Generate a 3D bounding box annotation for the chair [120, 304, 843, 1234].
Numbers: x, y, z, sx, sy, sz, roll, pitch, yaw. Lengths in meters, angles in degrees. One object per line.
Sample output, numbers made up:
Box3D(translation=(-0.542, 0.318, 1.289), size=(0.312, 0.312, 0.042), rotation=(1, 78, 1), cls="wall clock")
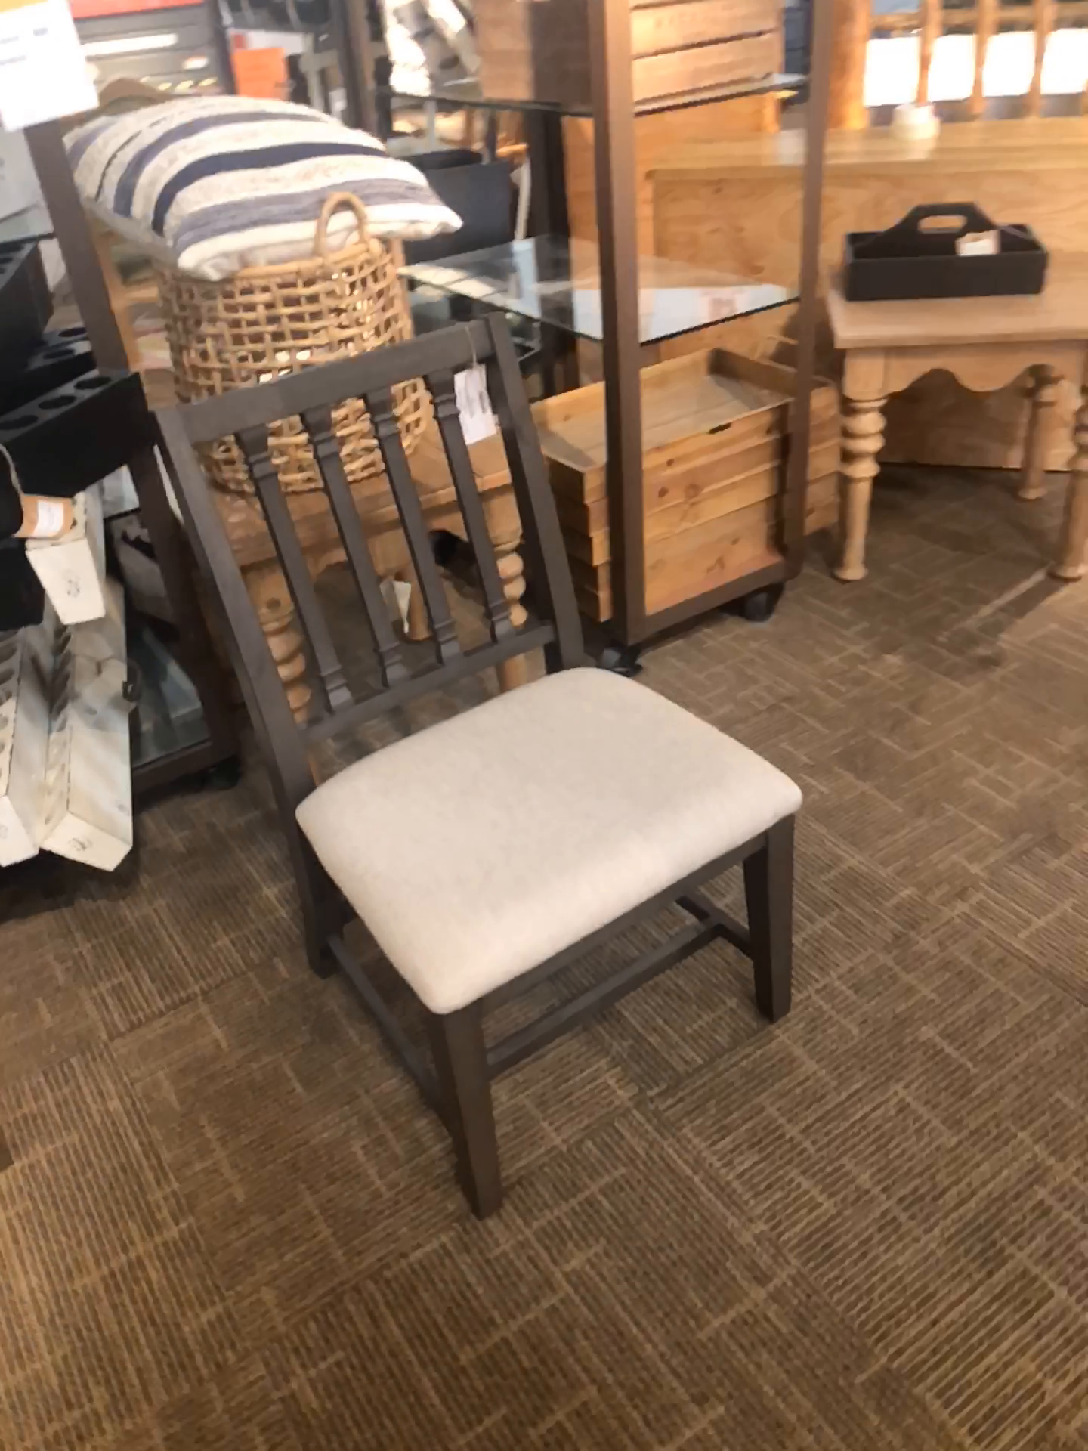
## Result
Box3D(translation=(-0.060, 0.025, 1.568), size=(0.581, 0.905, 0.602), rotation=(-24, 38, -25), cls="chair")
